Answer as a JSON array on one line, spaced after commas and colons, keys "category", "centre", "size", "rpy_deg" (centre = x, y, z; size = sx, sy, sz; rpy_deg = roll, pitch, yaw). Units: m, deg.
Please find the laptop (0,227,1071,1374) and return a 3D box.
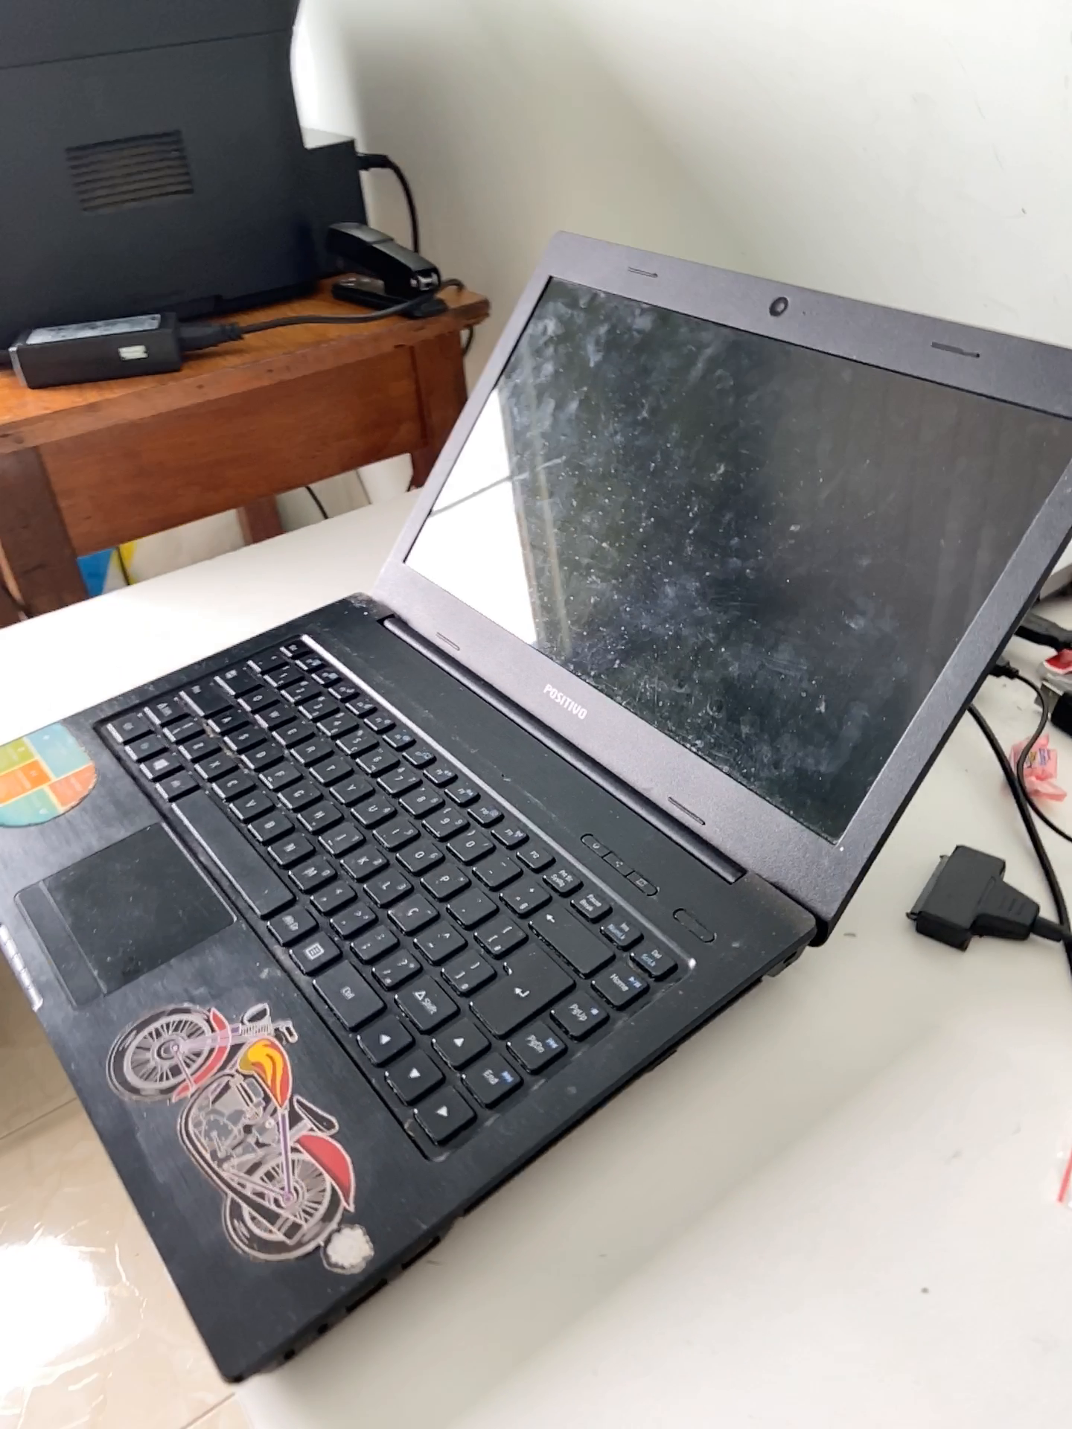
[{"category": "laptop", "centre": [-0.036, -0.045, 0.447], "size": [0.394, 0.162, 0.335], "rpy_deg": [-28, 42, -27]}]
